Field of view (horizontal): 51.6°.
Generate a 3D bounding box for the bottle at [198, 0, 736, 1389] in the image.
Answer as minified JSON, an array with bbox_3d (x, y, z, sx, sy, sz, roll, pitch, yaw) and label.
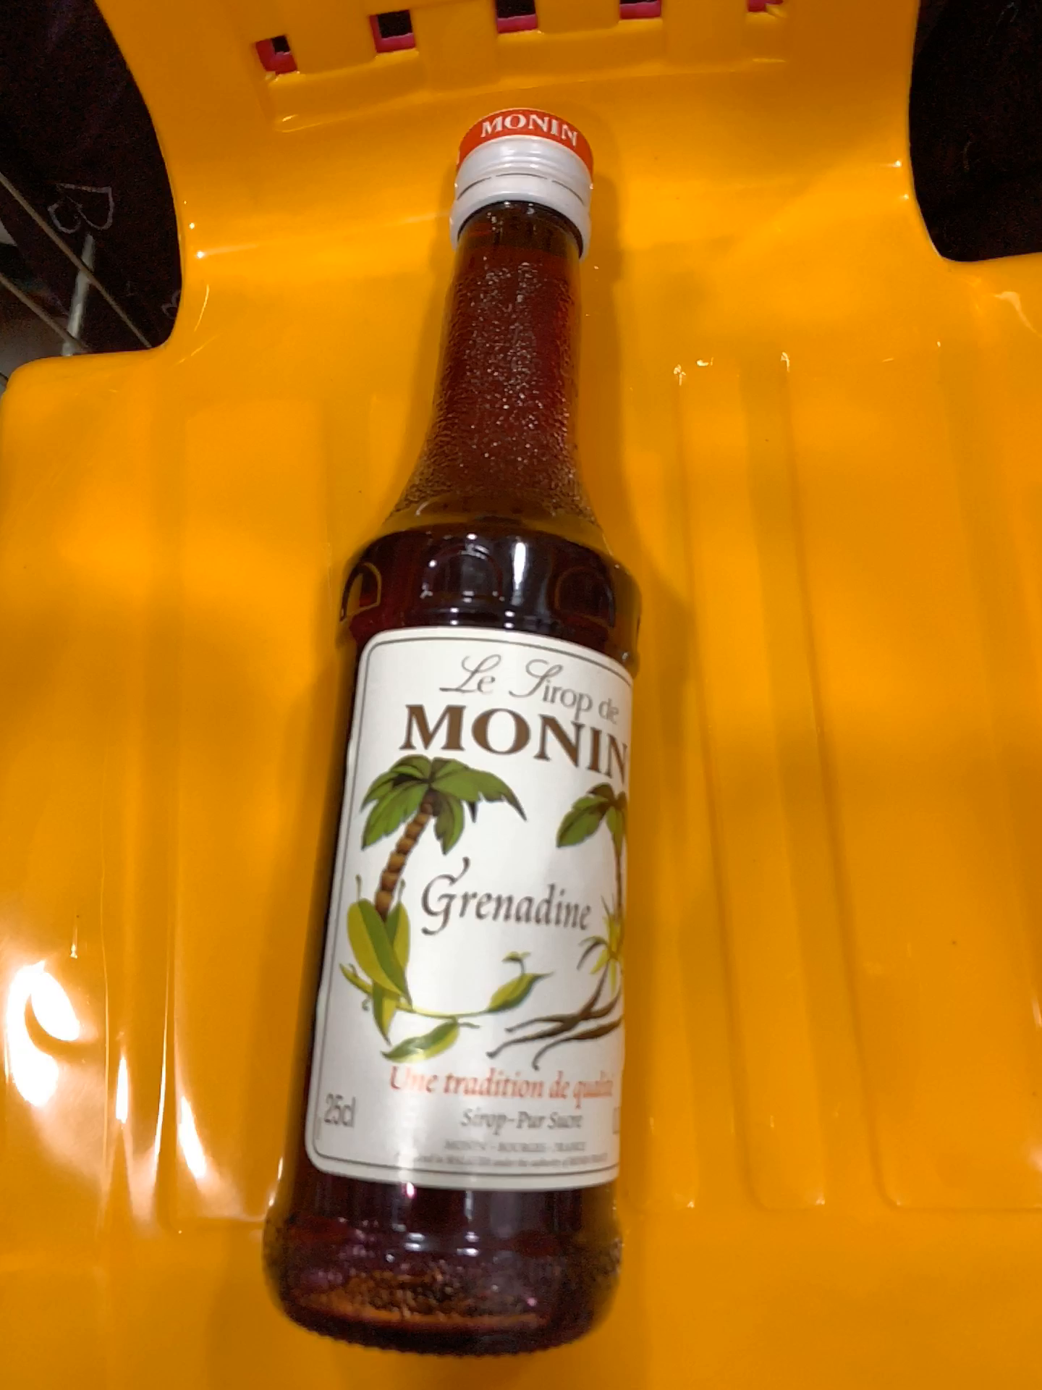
[{"bbox_3d":[-0.003,-0.023,0.187,0.060,0.050,0.240,12,72,-26],"label":"bottle"}]
